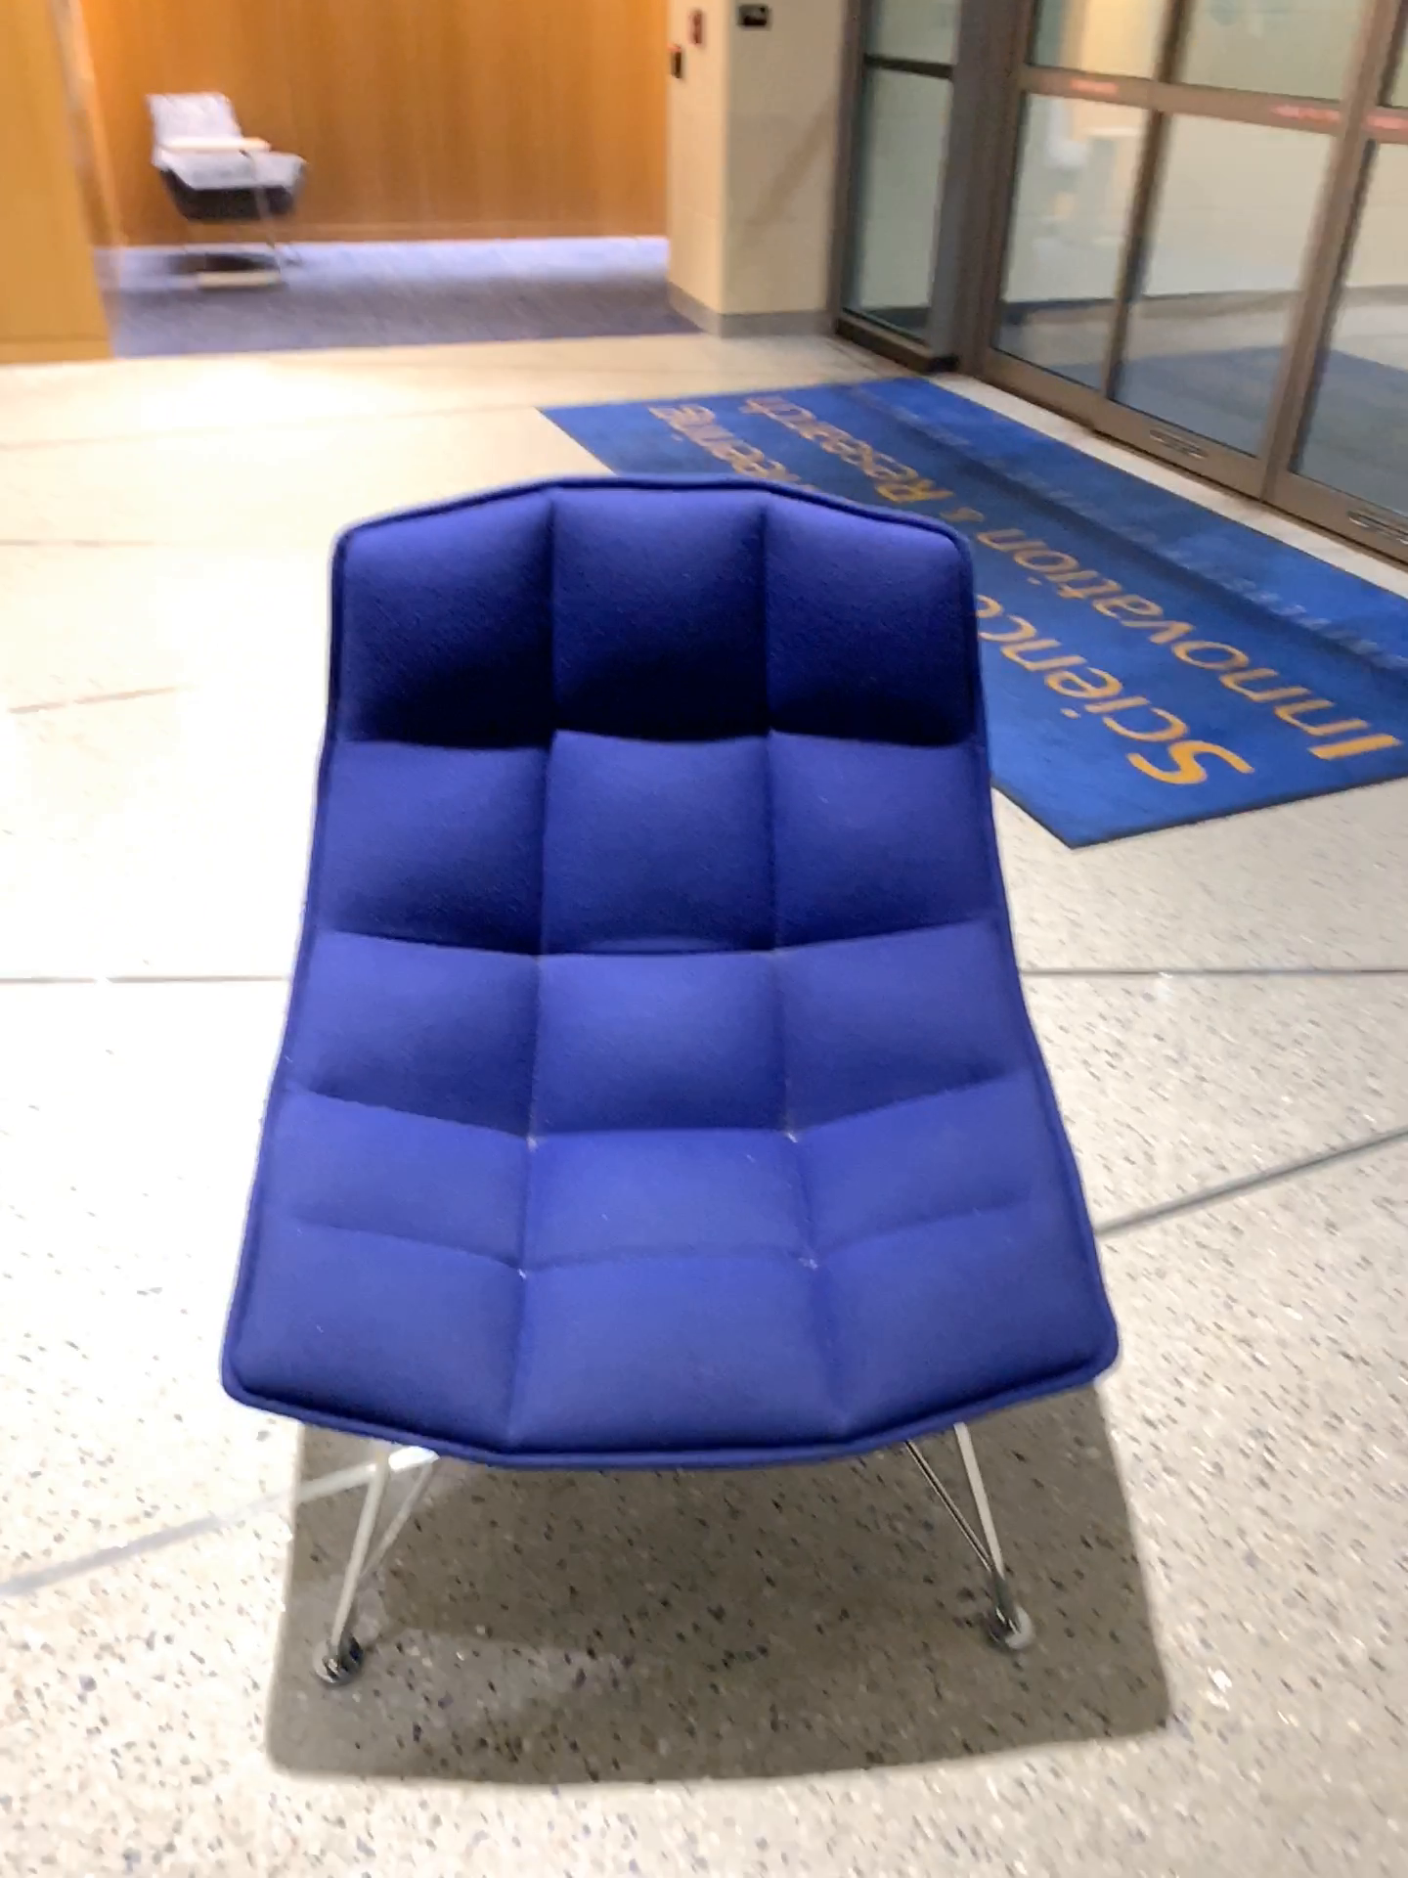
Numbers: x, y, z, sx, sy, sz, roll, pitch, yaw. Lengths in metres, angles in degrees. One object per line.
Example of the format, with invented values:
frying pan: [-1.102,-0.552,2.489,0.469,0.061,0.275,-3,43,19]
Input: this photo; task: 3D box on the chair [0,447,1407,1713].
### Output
chair: [-0.026,0.092,1.399,0.854,0.893,0.801,-1,34,-3]
